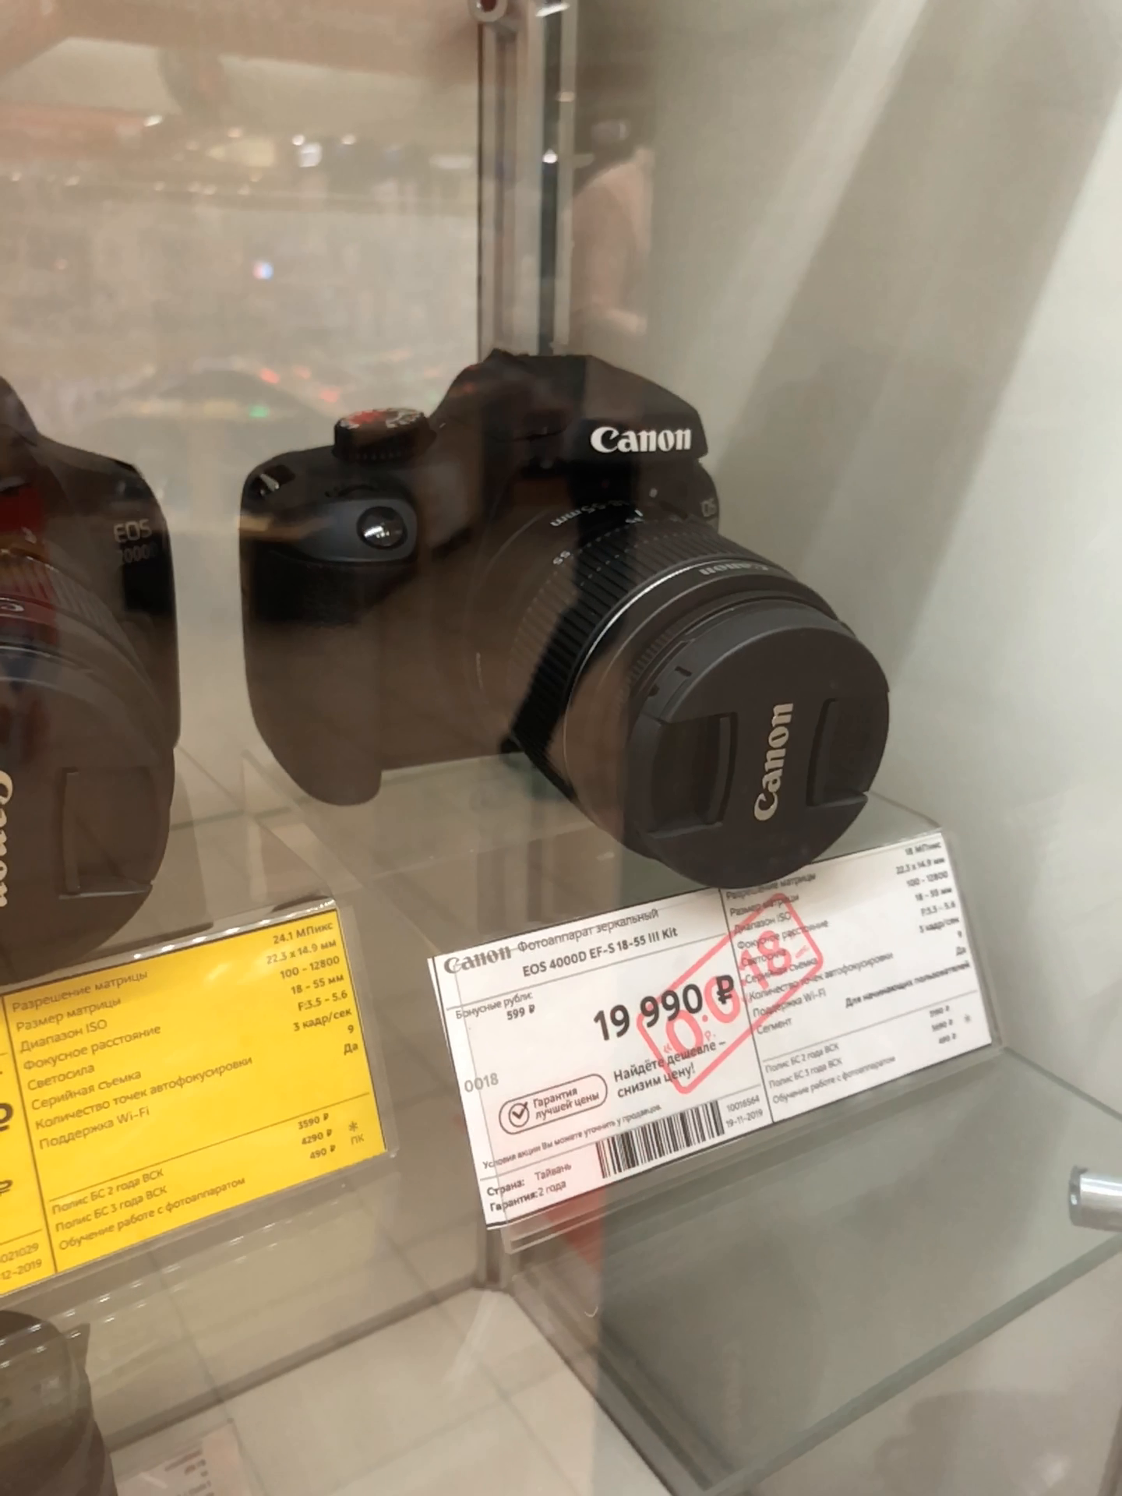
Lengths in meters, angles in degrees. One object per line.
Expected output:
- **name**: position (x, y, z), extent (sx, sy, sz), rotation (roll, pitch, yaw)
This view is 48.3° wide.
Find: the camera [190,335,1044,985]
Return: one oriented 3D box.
- **camera**: position (0.001, -0.039, 0.288), extent (0.125, 0.100, 0.147), rotation (-10, 23, -29)
